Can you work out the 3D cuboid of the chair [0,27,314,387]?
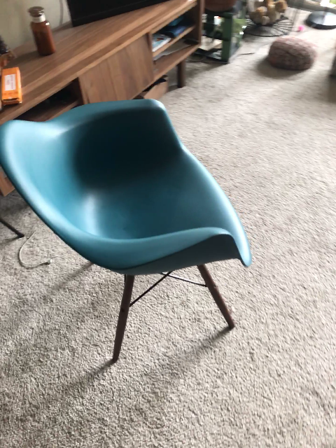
[{"bbox_3d":[-0.064,-0.002,1.070,0.560,0.785,0.583,-14,52,-6],"label":"chair"}]
